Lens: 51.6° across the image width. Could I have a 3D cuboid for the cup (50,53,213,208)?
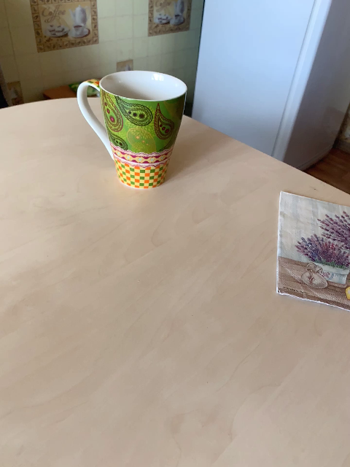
[{"bbox_3d":[-0.048,-0.124,0.415,0.130,0.109,0.110,30,45,26],"label":"cup"}]
